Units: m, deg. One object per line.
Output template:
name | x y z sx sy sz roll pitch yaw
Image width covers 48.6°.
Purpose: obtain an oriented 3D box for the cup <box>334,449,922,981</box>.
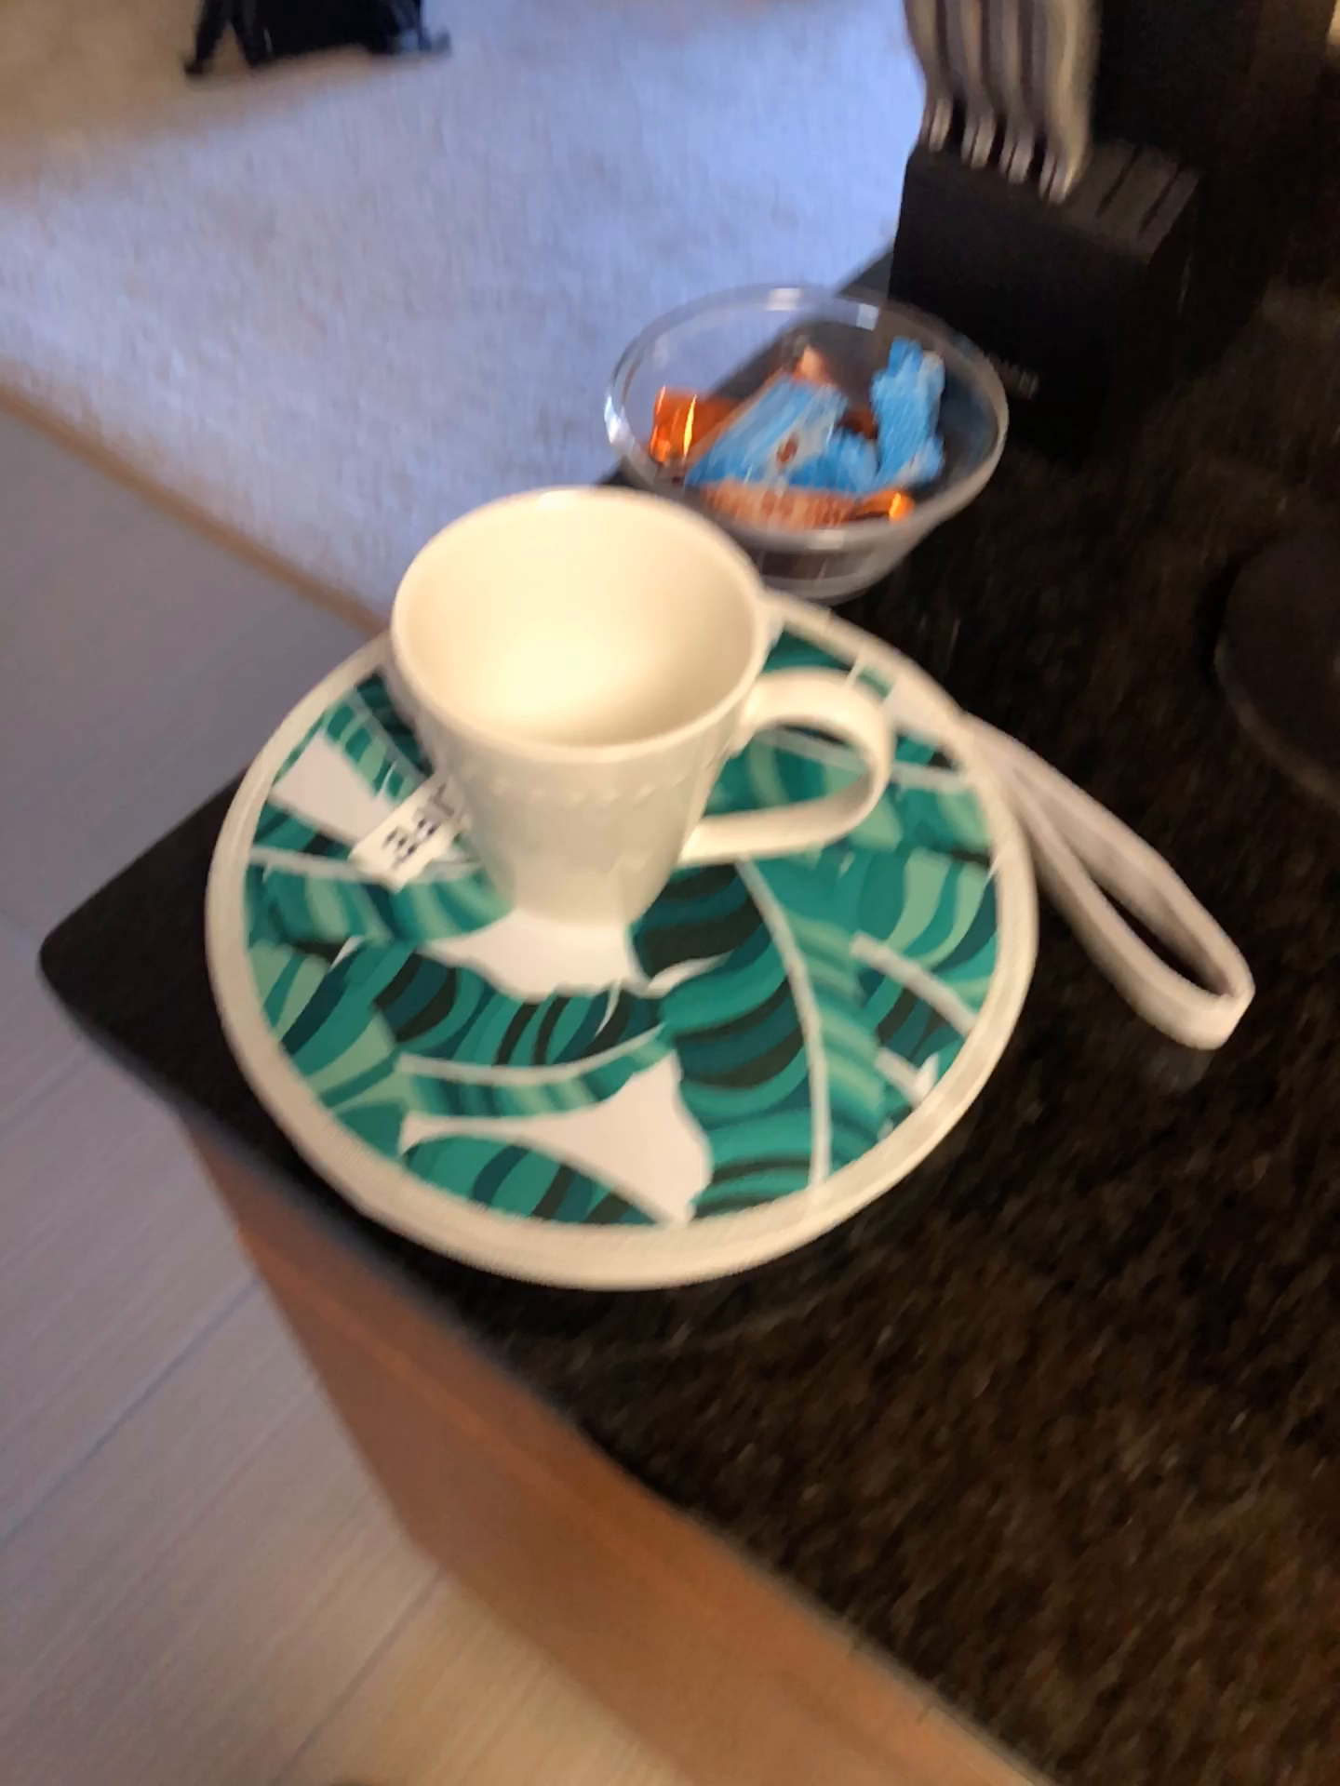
cup | -0.007 -0.047 0.398 0.130 0.090 0.090 7 54 4
